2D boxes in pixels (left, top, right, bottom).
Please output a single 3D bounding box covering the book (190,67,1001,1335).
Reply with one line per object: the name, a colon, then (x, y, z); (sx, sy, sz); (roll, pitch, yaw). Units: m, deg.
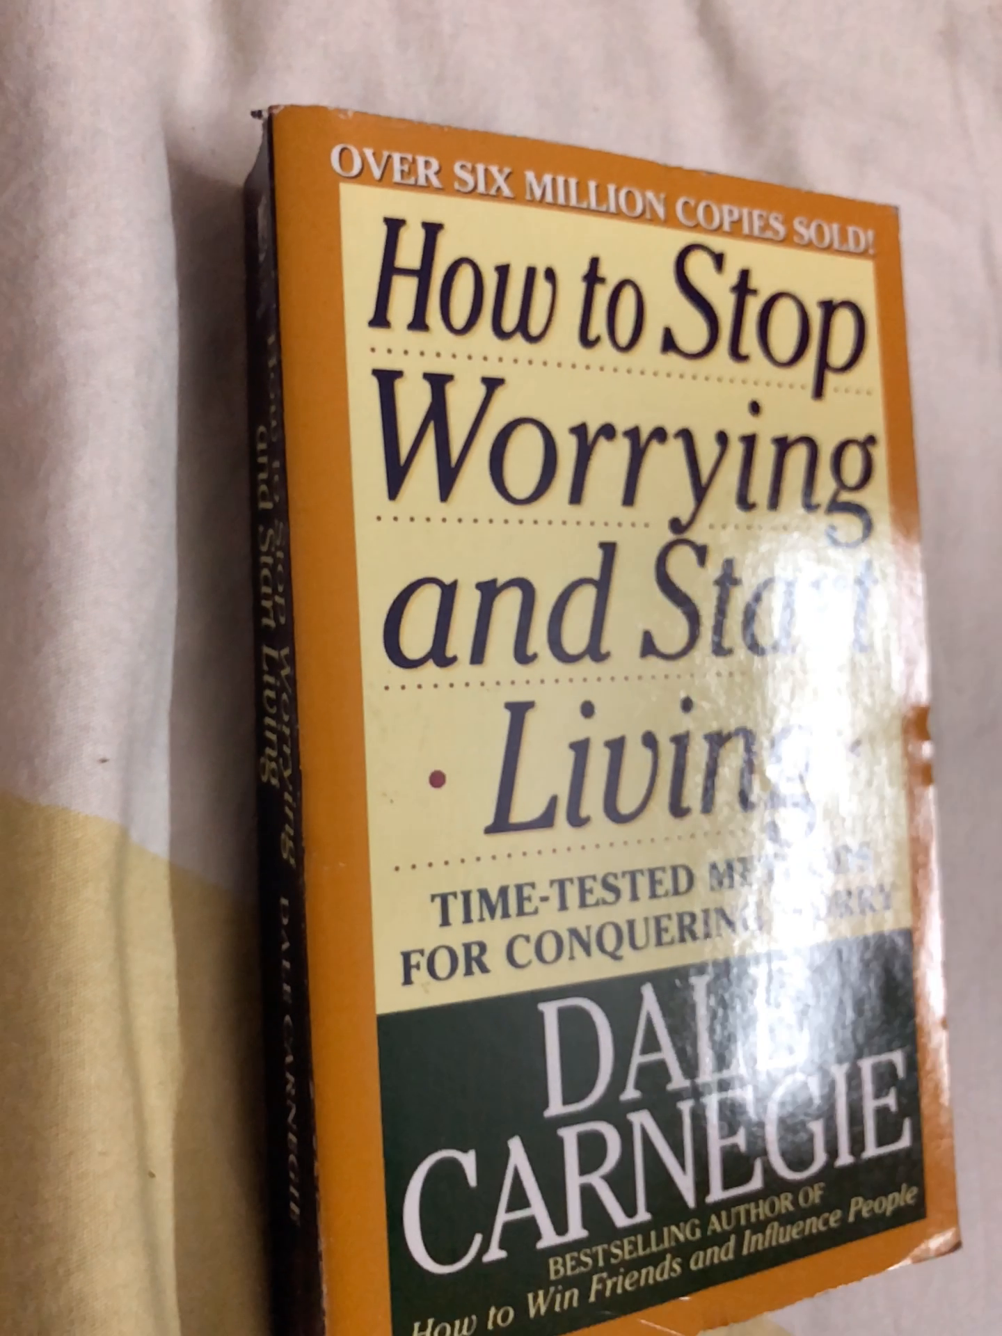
book: (0.016, 0.012, 0.182); (0.110, 0.050, 0.170); (-2, 87, -28)
